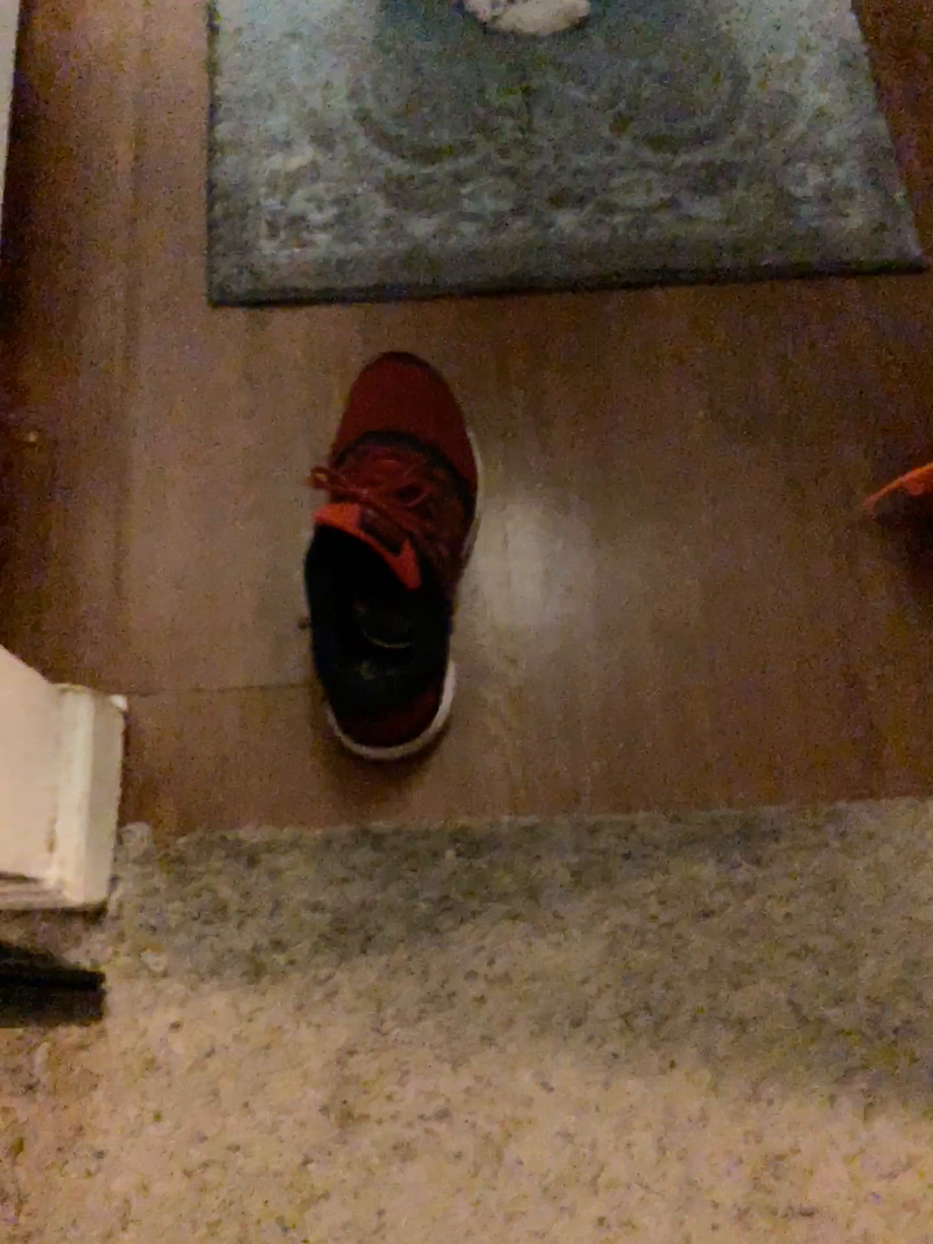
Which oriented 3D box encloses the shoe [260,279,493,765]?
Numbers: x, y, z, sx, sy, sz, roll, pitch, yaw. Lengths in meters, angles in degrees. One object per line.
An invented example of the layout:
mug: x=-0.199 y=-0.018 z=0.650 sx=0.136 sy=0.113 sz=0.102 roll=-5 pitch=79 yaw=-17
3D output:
shoe: x=-0.053 y=-0.064 z=0.726 sx=0.130 sy=0.140 sz=0.300 roll=2 pitch=72 yaw=-1
